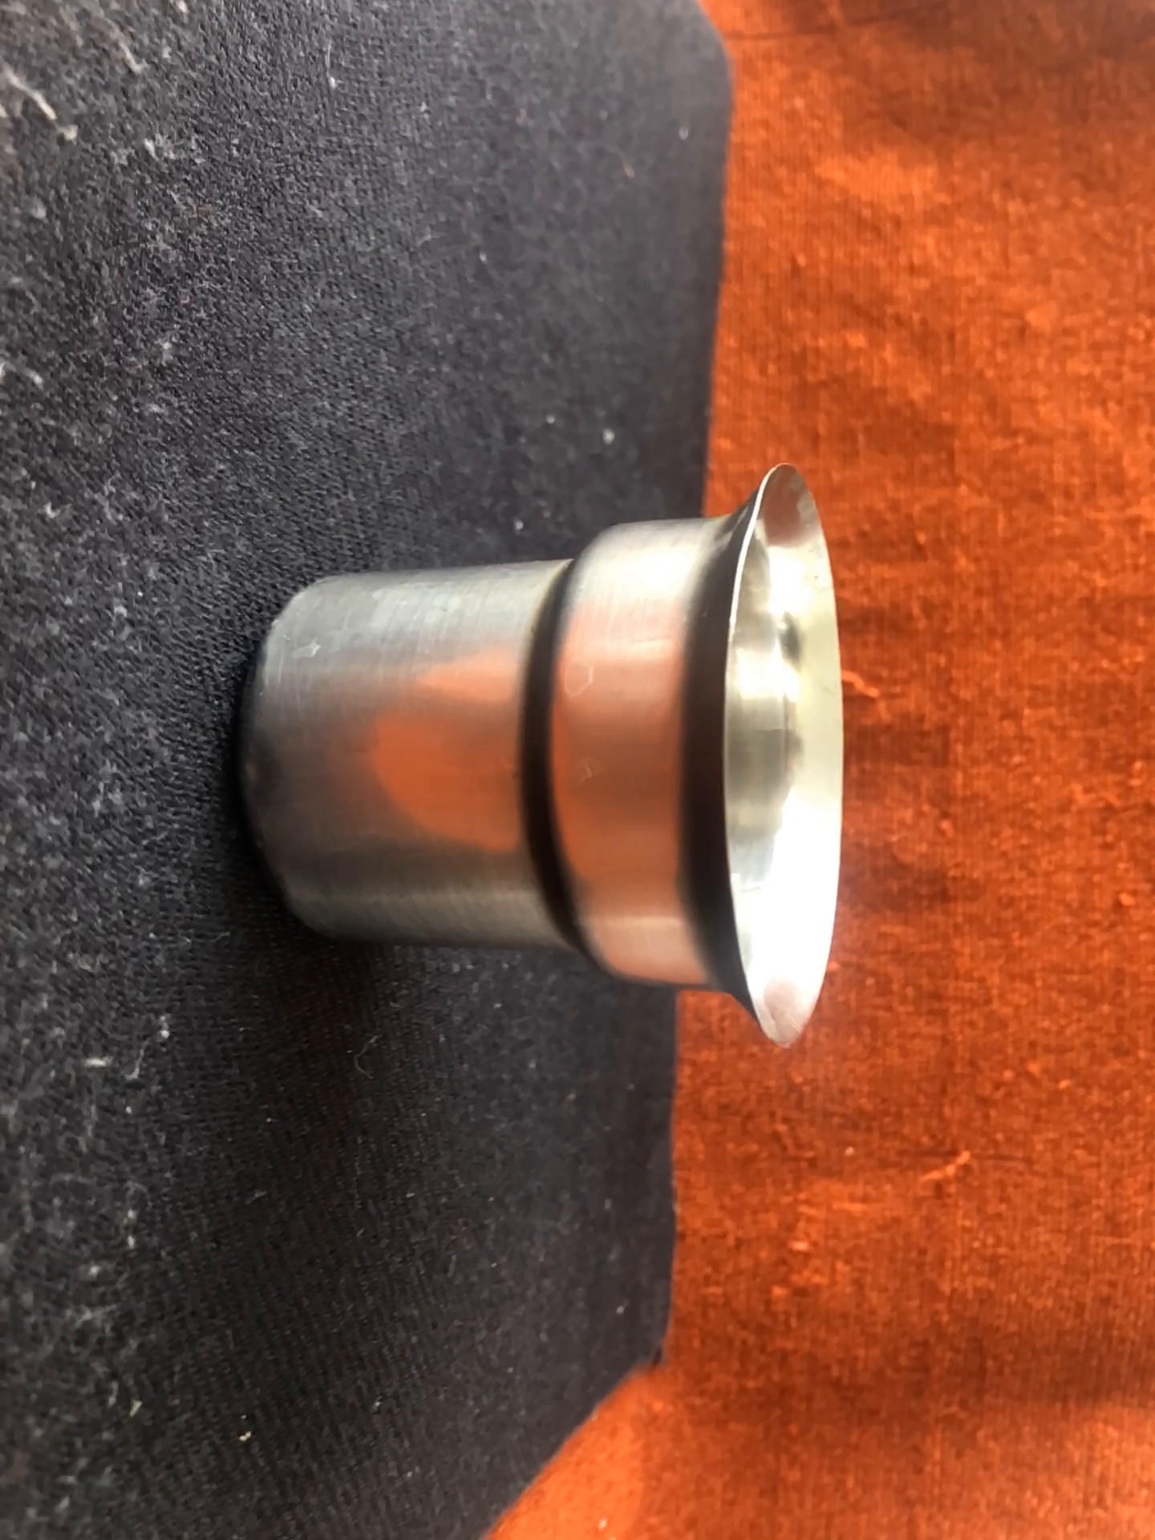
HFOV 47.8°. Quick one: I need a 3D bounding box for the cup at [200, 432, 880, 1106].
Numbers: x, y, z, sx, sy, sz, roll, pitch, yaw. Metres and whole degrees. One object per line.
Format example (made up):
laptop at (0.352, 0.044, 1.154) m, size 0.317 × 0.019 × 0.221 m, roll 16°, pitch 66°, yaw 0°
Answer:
cup at (0.001, 0.001, 0.179) m, size 0.070 × 0.070 × 0.070 m, roll 1°, pitch 90°, yaw -71°
